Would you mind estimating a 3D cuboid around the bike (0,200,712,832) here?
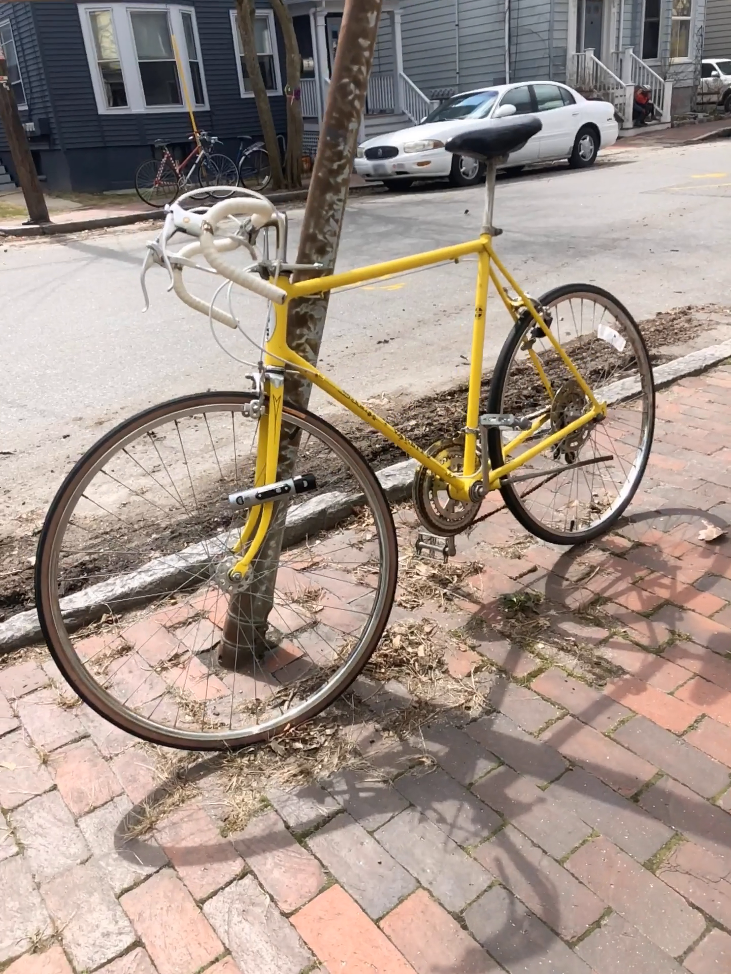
[{"bbox_3d":[0.046,-0.101,1.937,1.692,0.804,0.540,-24,31,-29],"label":"bike"}]
